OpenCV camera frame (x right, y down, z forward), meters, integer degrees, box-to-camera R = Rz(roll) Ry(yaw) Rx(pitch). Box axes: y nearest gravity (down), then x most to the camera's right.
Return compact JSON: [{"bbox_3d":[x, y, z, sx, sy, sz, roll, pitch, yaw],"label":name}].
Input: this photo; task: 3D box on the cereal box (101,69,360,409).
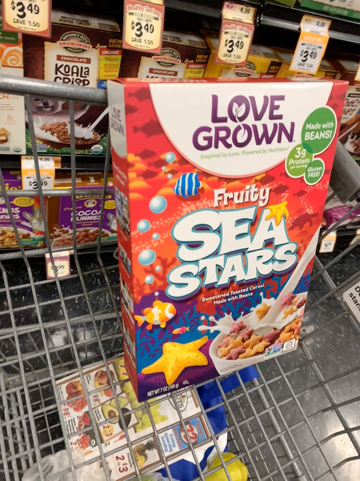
[{"bbox_3d":[0.040,0.003,0.297,0.180,0.249,0.050,-10,30,-22],"label":"cereal box"}]
